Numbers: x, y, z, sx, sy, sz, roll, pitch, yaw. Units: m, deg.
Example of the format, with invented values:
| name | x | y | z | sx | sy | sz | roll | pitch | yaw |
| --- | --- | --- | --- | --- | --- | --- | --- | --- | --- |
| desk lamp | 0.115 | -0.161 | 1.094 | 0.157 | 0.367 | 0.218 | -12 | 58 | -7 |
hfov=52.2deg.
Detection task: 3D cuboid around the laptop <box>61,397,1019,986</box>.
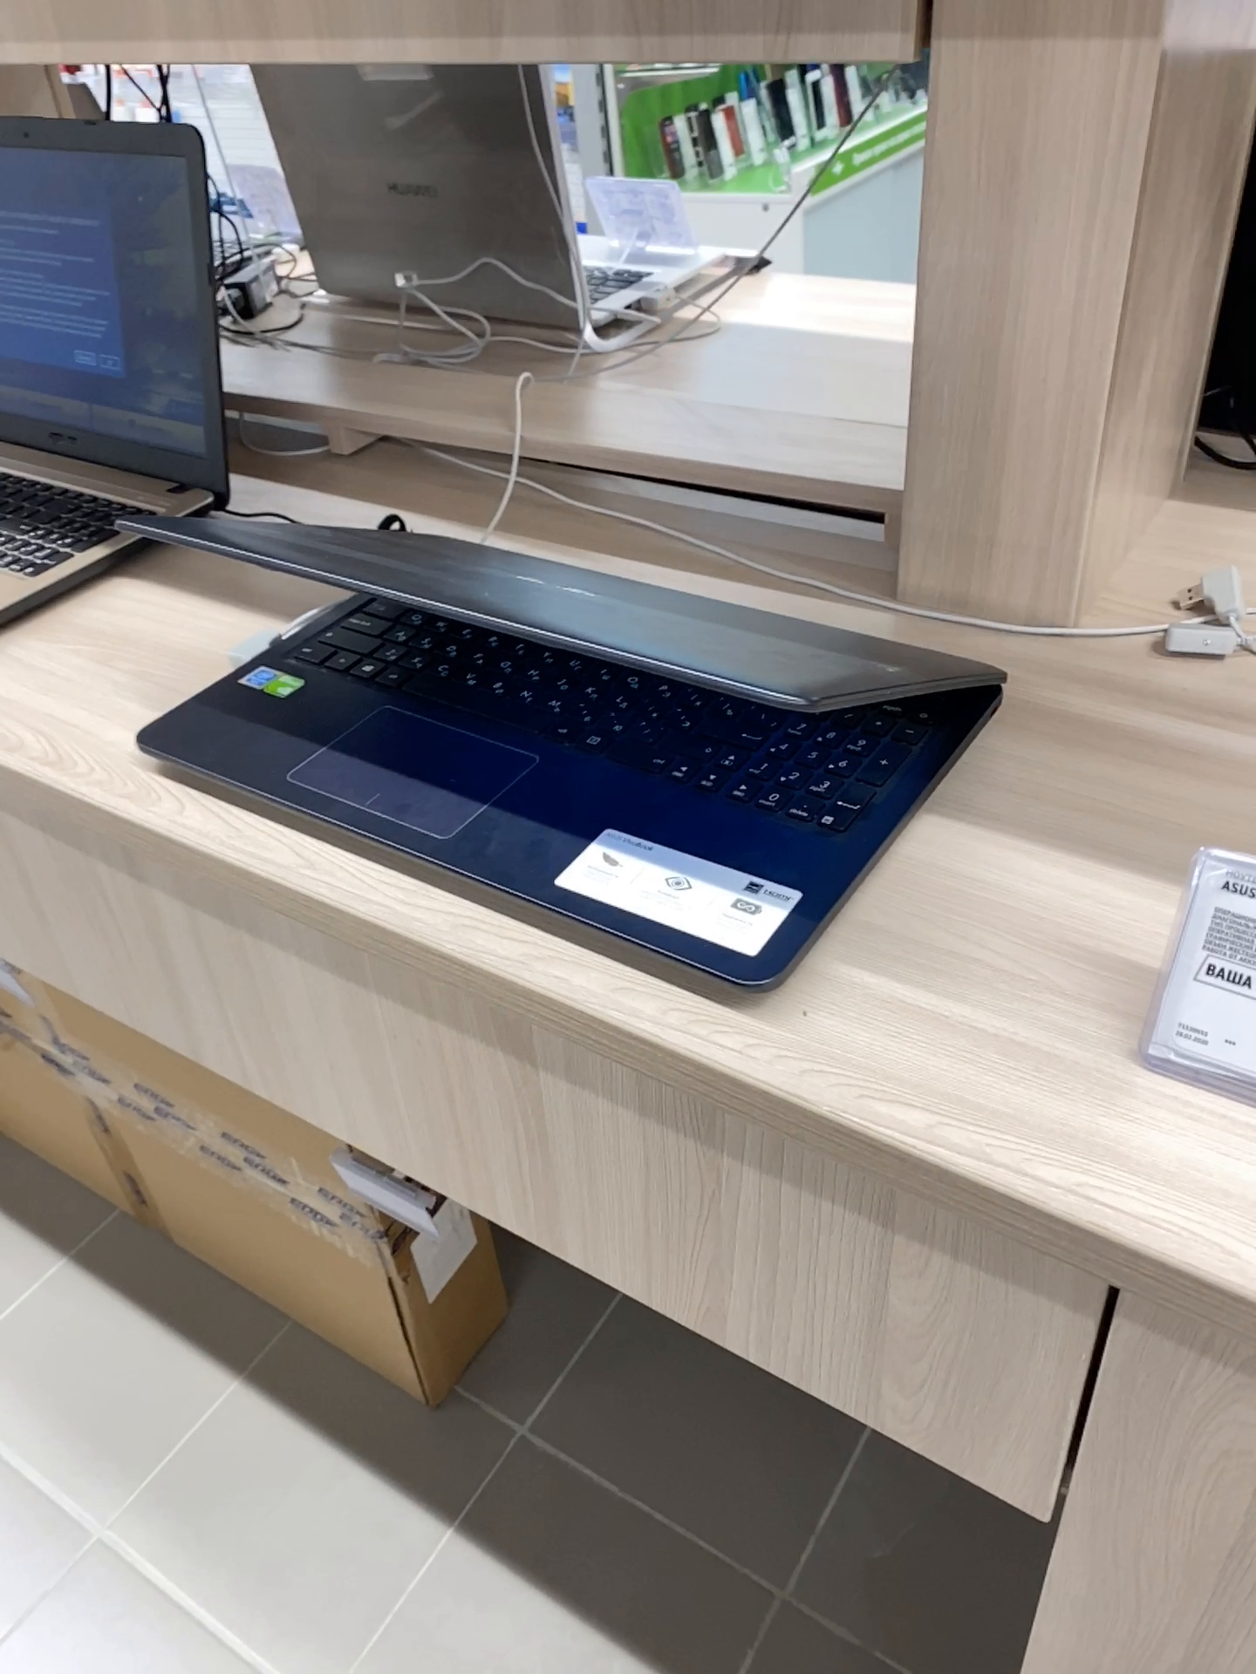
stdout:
| name | x | y | z | sx | sy | sz | roll | pitch | yaw |
| --- | --- | --- | --- | --- | --- | --- | --- | --- | --- |
| laptop | -0.045 | -0.103 | 0.628 | 0.387 | 0.098 | 0.236 | 19 | 44 | 29 |
